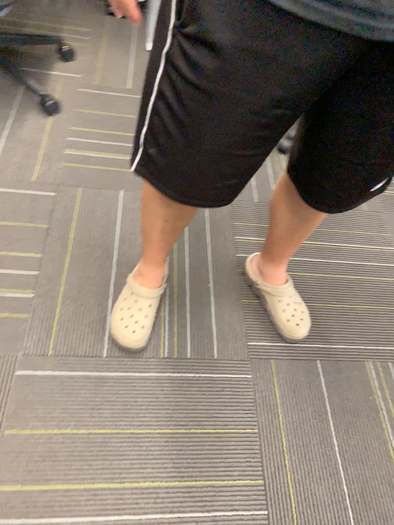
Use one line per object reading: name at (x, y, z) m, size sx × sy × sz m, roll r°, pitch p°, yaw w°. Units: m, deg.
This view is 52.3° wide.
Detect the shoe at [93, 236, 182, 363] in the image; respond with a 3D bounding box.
shoe at (-0.158, 0.094, 1.134) m, size 0.150 × 0.090 × 0.331 m, roll 16°, pitch 54°, yaw 0°

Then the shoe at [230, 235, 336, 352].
shoe at (0.250, 0.084, 1.220) m, size 0.140 × 0.090 × 0.331 m, roll -19°, pitch 61°, yaw -22°
